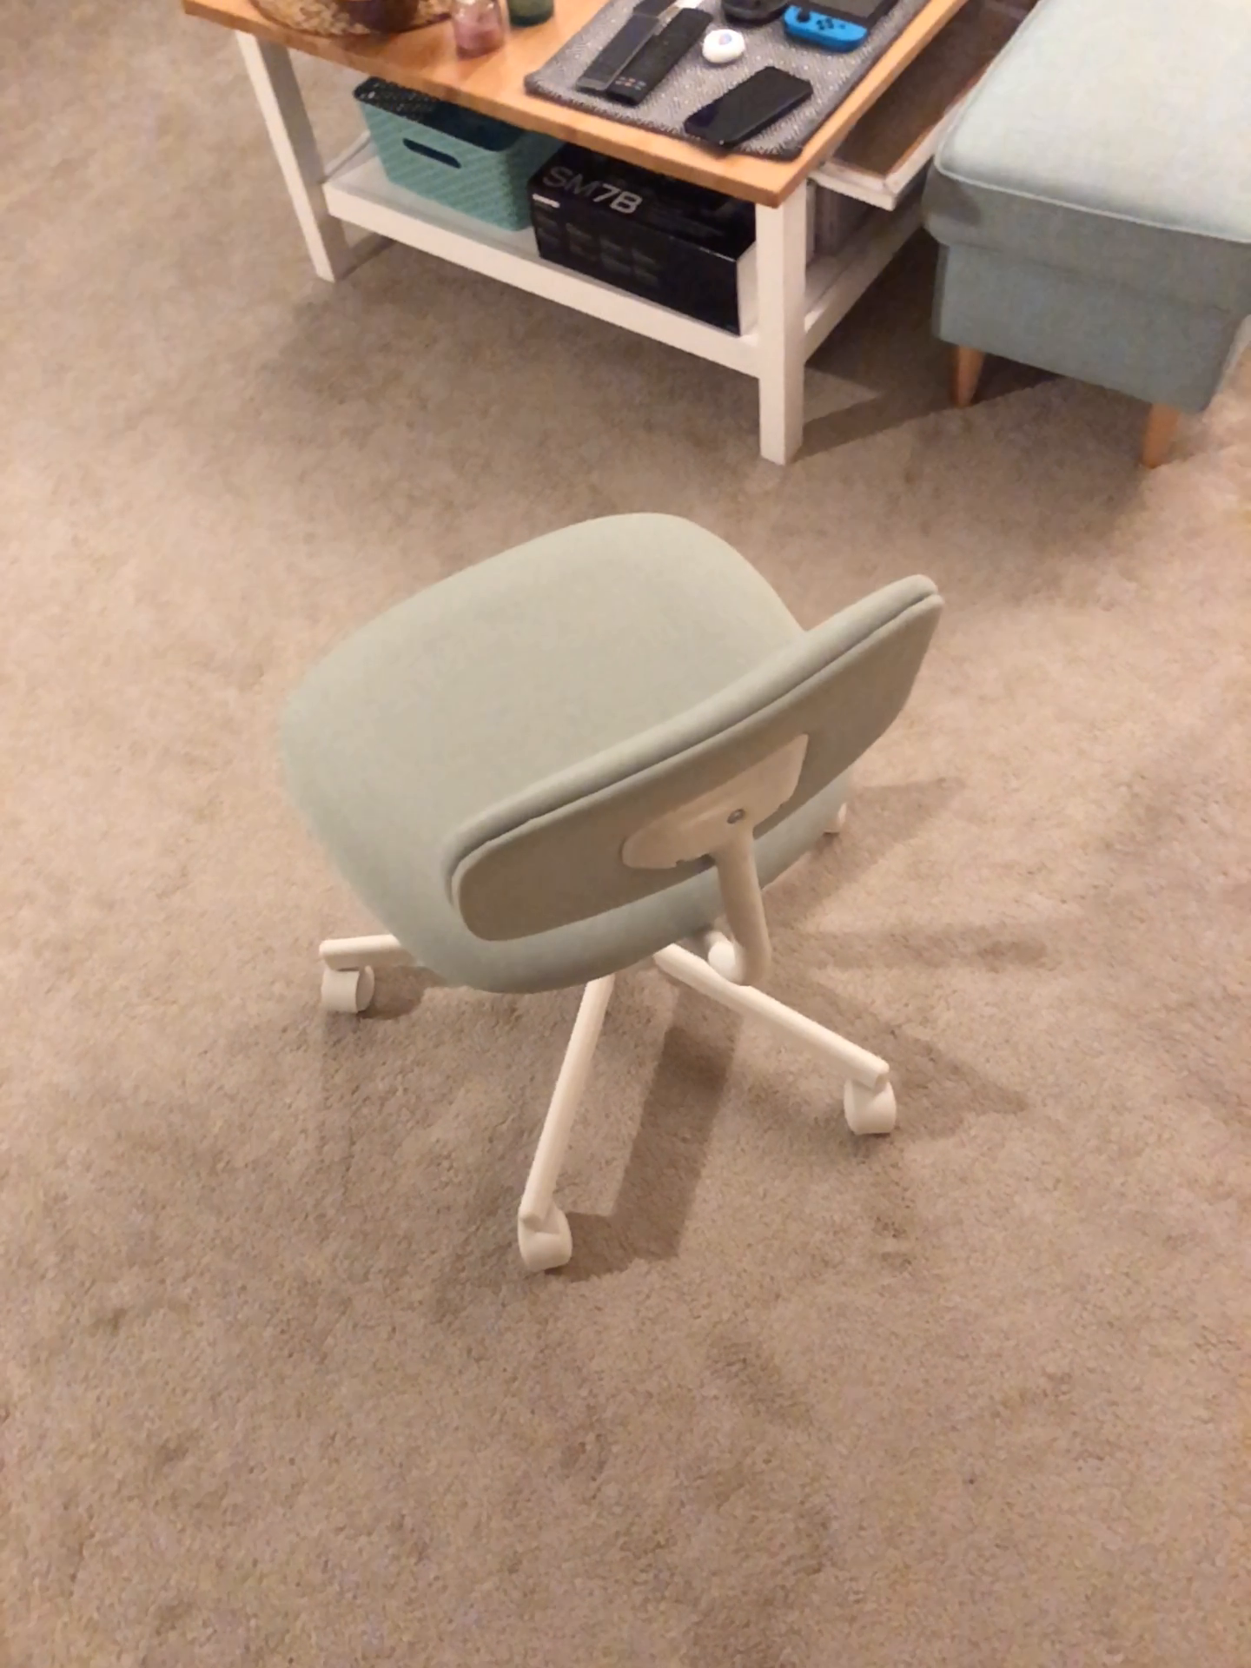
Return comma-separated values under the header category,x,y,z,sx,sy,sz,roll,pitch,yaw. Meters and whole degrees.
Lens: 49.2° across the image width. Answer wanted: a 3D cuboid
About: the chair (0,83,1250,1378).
category,x,y,z,sx,sy,sz,roll,pitch,yaw
chair,-0.030,-0.055,1.181,0.661,0.677,0.642,-26,59,-9
